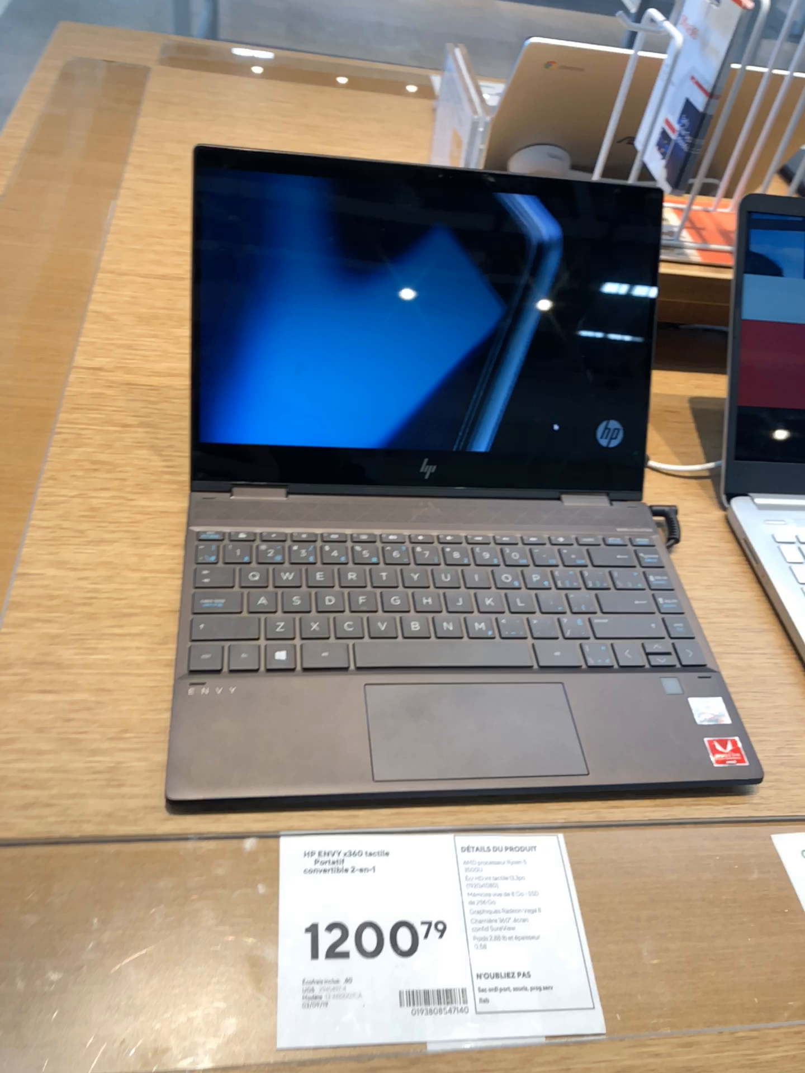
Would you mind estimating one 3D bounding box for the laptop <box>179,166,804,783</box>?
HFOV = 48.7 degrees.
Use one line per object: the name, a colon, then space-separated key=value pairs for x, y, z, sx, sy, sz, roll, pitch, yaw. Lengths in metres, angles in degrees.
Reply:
laptop: x=0.037 y=-0.052 z=0.505 sx=0.293 sy=0.162 sz=0.319 roll=1 pitch=45 yaw=-10
